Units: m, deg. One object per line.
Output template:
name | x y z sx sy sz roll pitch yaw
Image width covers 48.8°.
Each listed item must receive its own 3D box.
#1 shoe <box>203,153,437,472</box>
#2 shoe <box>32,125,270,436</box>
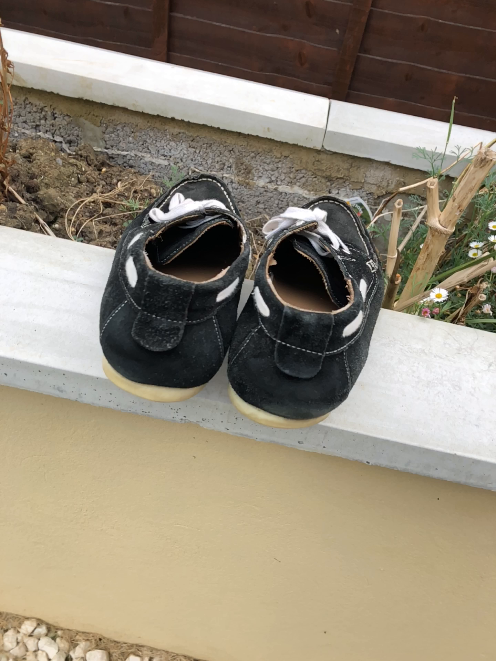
shoe | 0.065 -0.045 0.429 0.110 0.089 0.302 16 33 4
shoe | -0.052 -0.068 0.430 0.120 0.089 0.312 8 33 -4
